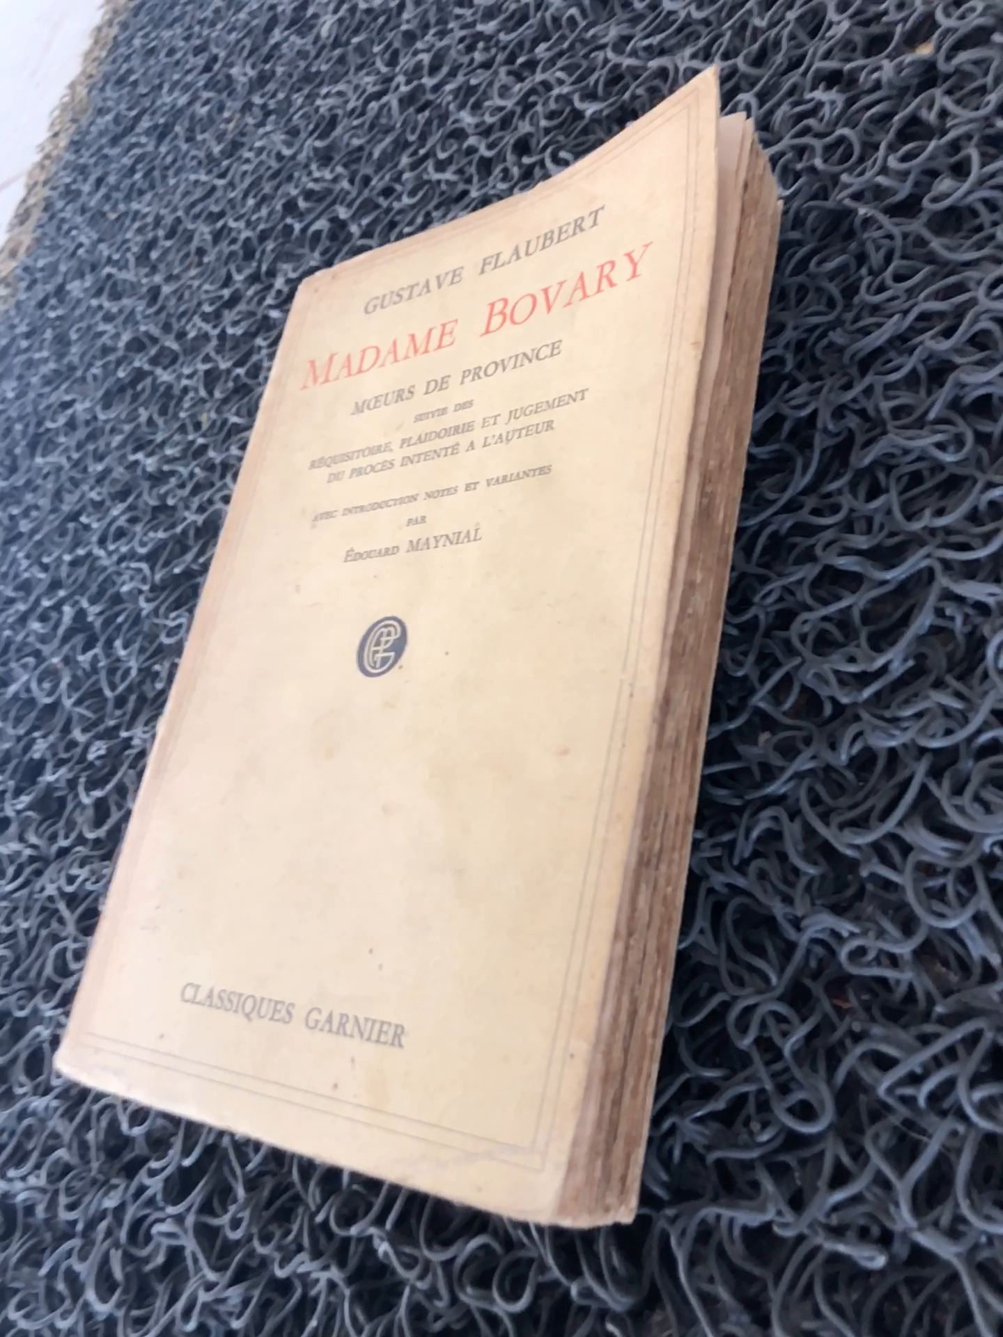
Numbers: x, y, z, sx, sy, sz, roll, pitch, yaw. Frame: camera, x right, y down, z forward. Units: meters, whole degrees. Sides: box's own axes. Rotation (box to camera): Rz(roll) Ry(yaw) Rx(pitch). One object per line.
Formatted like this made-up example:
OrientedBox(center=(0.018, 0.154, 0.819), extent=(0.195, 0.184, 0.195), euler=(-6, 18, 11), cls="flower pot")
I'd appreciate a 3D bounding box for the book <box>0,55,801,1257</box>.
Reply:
OrientedBox(center=(-0.021, -0.009, 0.204), extent=(0.124, 0.035, 0.180), euler=(-4, 64, 38), cls="book")
